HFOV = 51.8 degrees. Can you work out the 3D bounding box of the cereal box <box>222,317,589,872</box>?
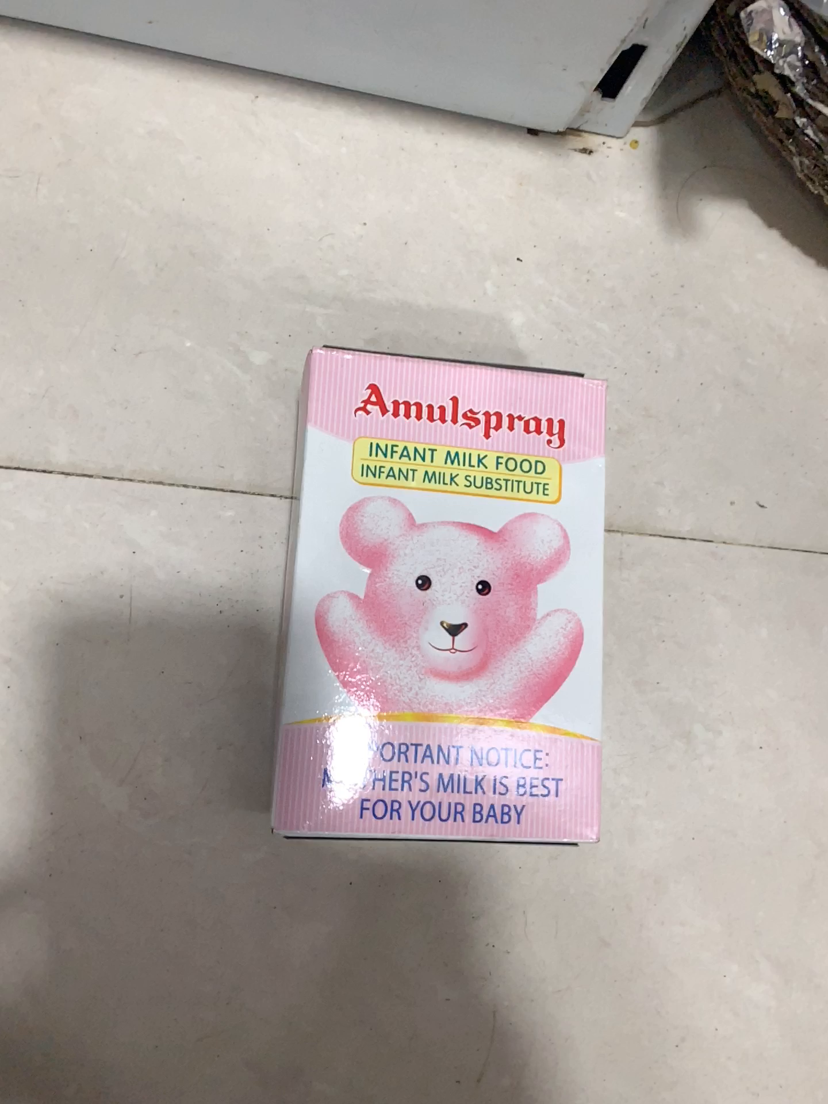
[{"bbox_3d":[-0.002,0.014,0.247,0.090,0.050,0.140,5,80,-9],"label":"cereal box"}]
